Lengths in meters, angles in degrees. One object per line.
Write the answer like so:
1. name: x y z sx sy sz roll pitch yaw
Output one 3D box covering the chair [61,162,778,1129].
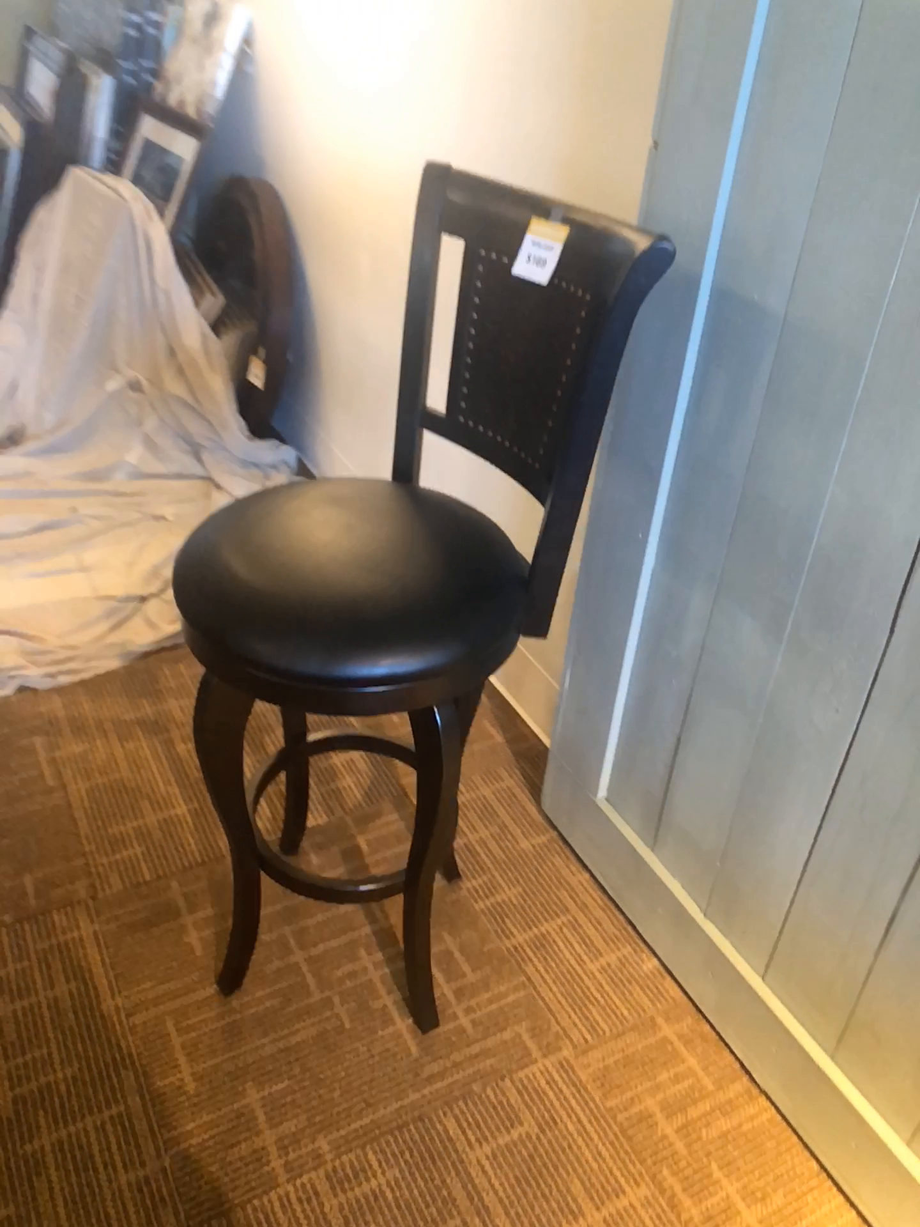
1. chair: -0.106 0.033 1.456 0.611 1.150 0.562 -16 39 -29
